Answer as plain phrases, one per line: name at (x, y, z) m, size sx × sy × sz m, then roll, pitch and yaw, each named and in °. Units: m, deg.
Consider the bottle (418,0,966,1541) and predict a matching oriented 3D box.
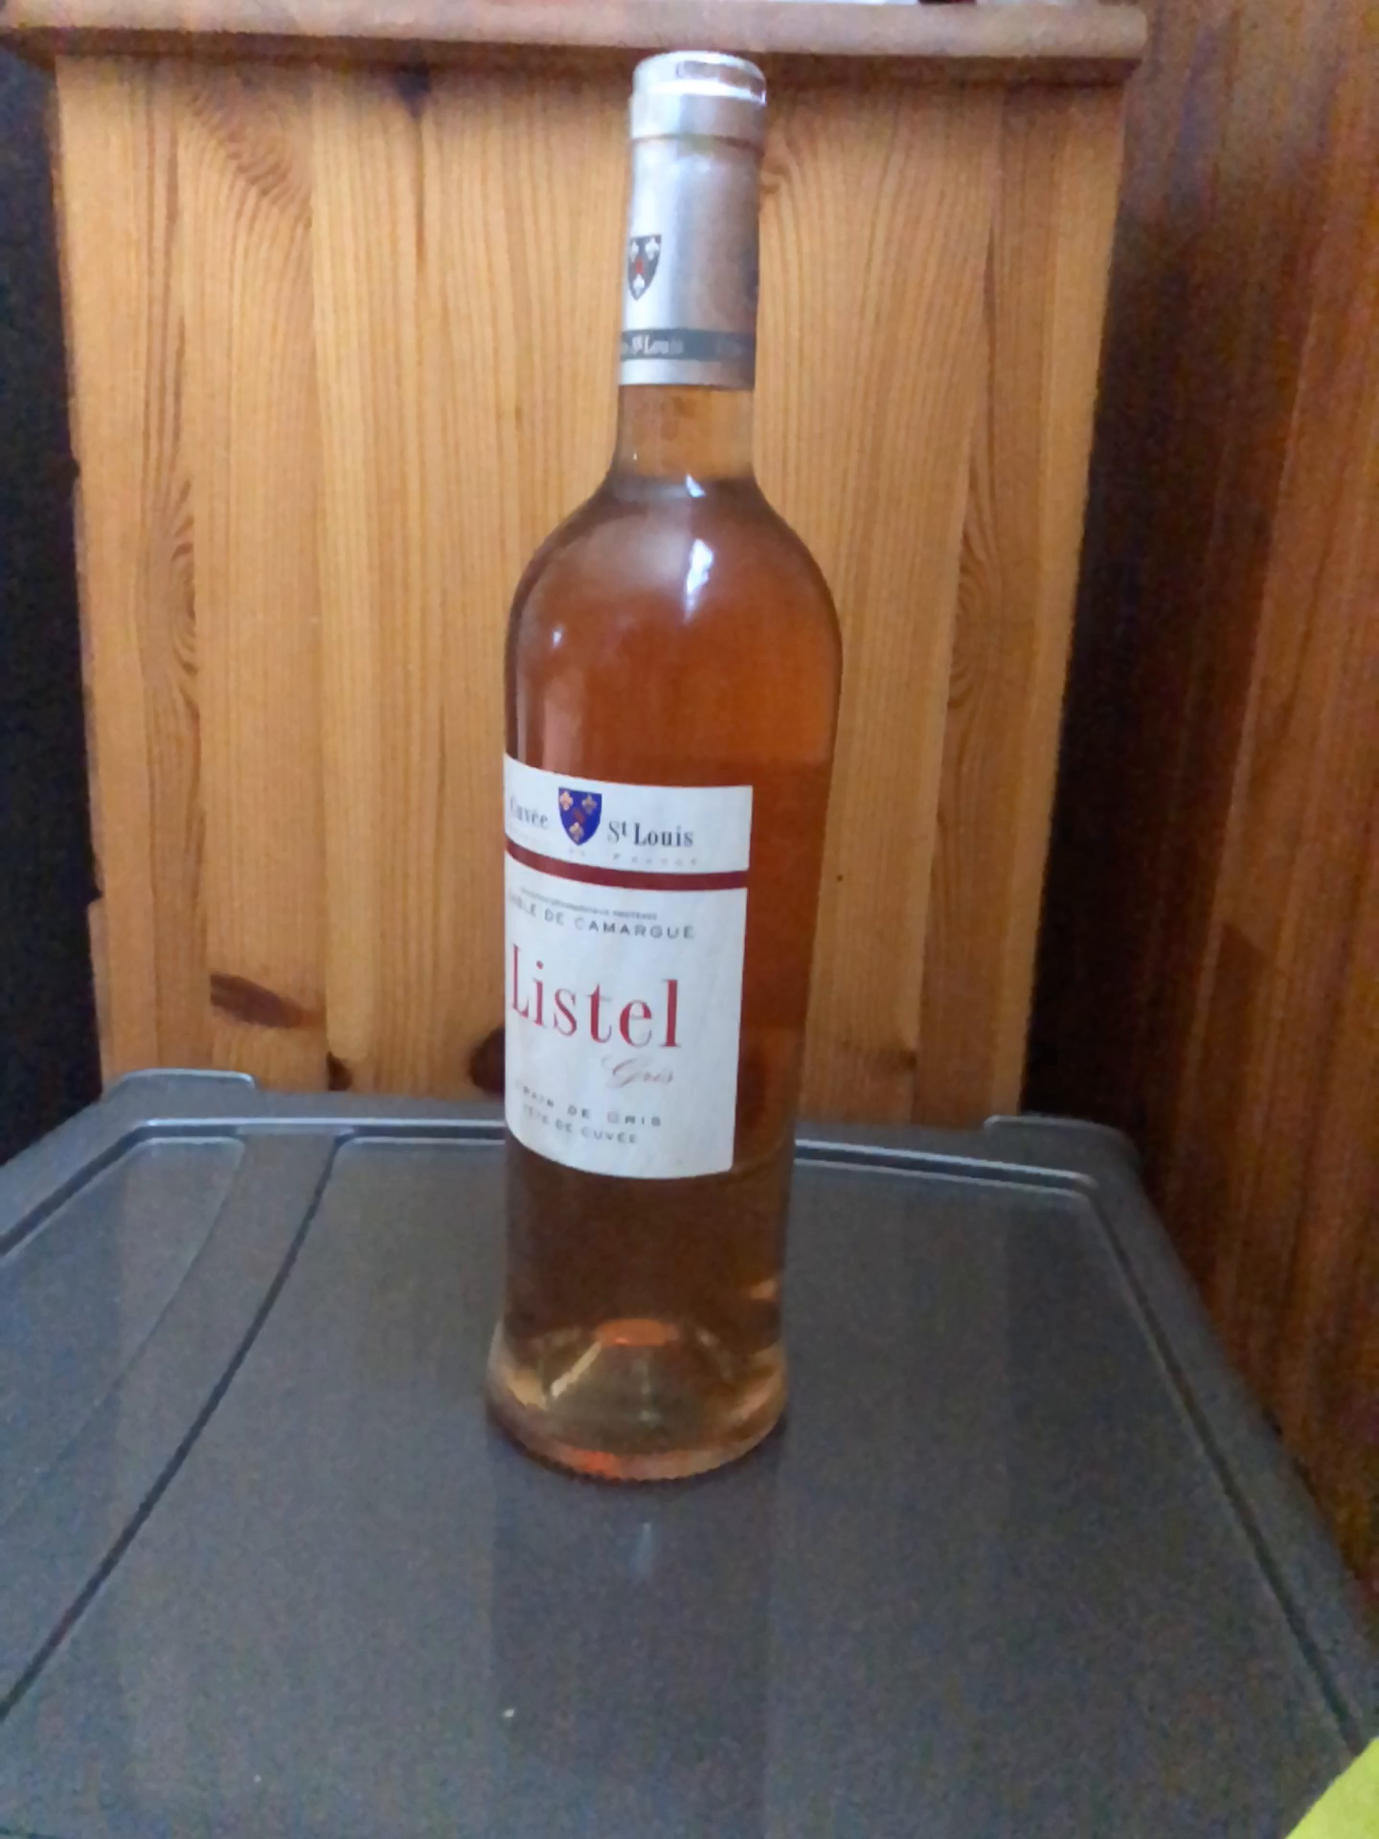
bottle at (-0.004, -0.030, 0.351) m, size 0.080 × 0.319 × 0.080 m, roll 3°, pitch 16°, yaw -1°
